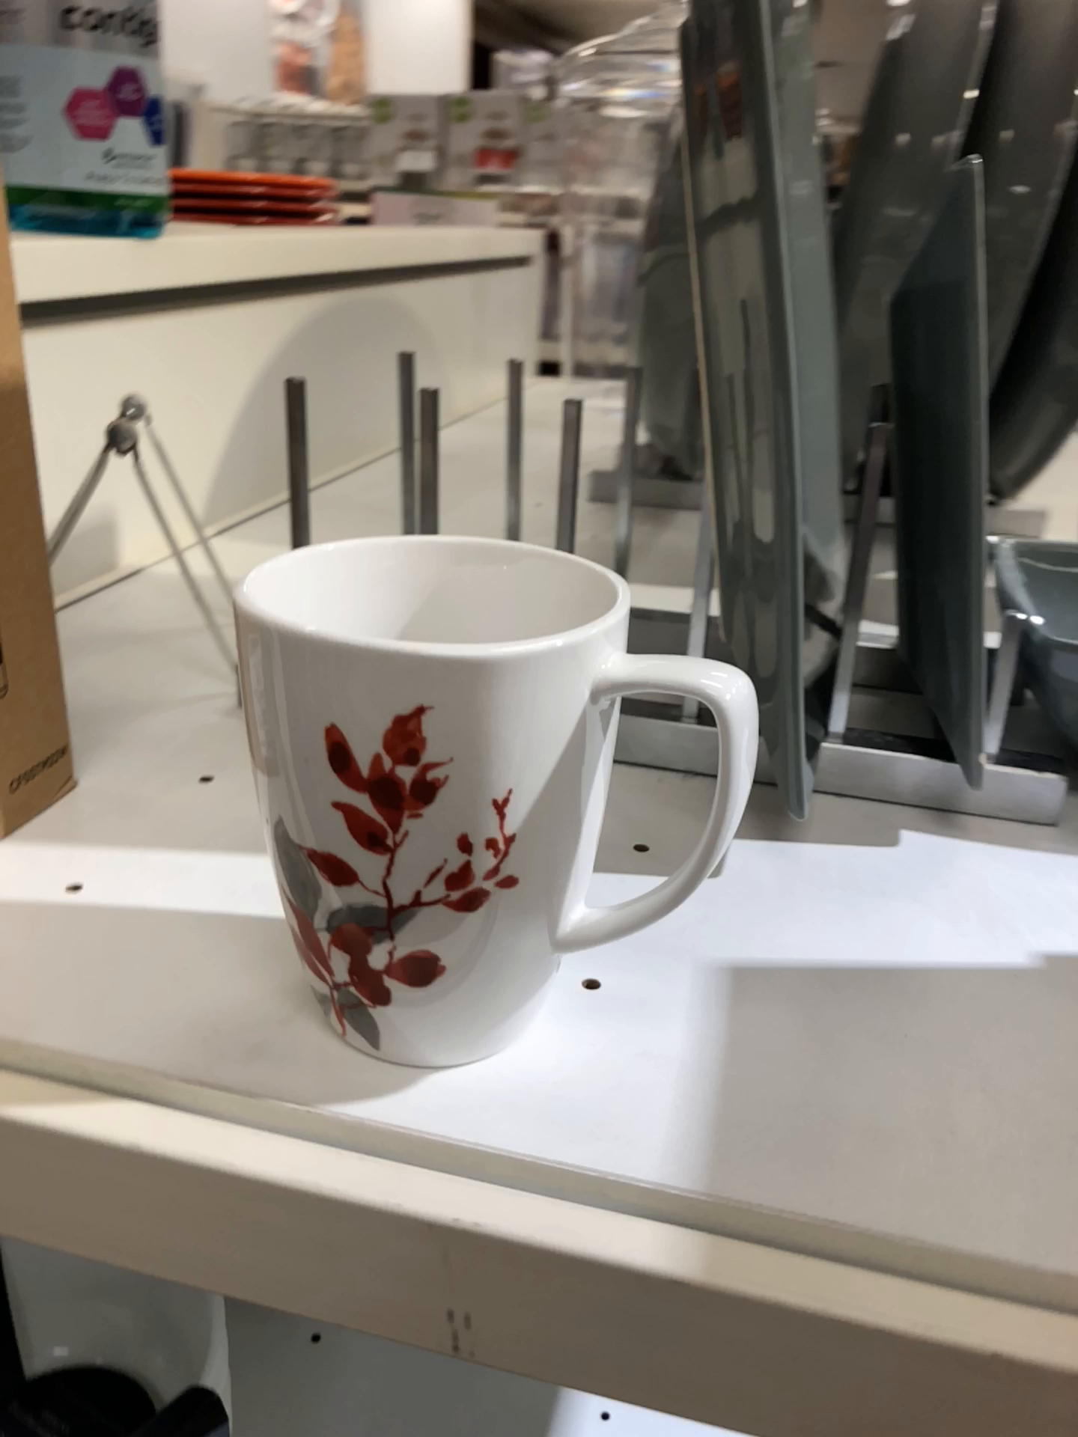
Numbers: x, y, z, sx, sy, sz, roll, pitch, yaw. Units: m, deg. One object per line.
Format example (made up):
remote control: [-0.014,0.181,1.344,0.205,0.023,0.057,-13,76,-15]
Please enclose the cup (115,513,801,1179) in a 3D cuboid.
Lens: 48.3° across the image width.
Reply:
cup: [-0.013,0.019,0.269,0.119,0.100,0.085,9,24,15]
